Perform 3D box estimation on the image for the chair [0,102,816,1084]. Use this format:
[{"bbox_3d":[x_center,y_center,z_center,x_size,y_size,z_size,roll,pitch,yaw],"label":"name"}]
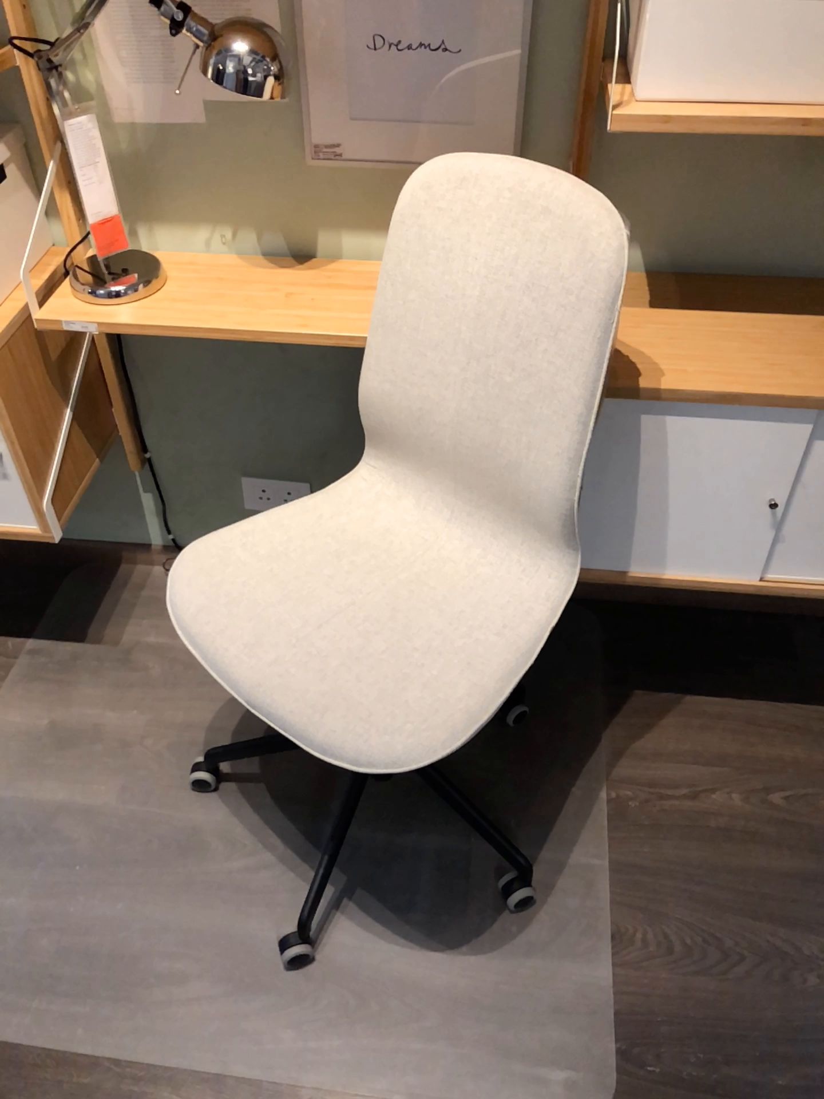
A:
[{"bbox_3d":[-0.054,0.039,1.179,0.652,0.904,0.622,-33,51,-31],"label":"chair"}]
